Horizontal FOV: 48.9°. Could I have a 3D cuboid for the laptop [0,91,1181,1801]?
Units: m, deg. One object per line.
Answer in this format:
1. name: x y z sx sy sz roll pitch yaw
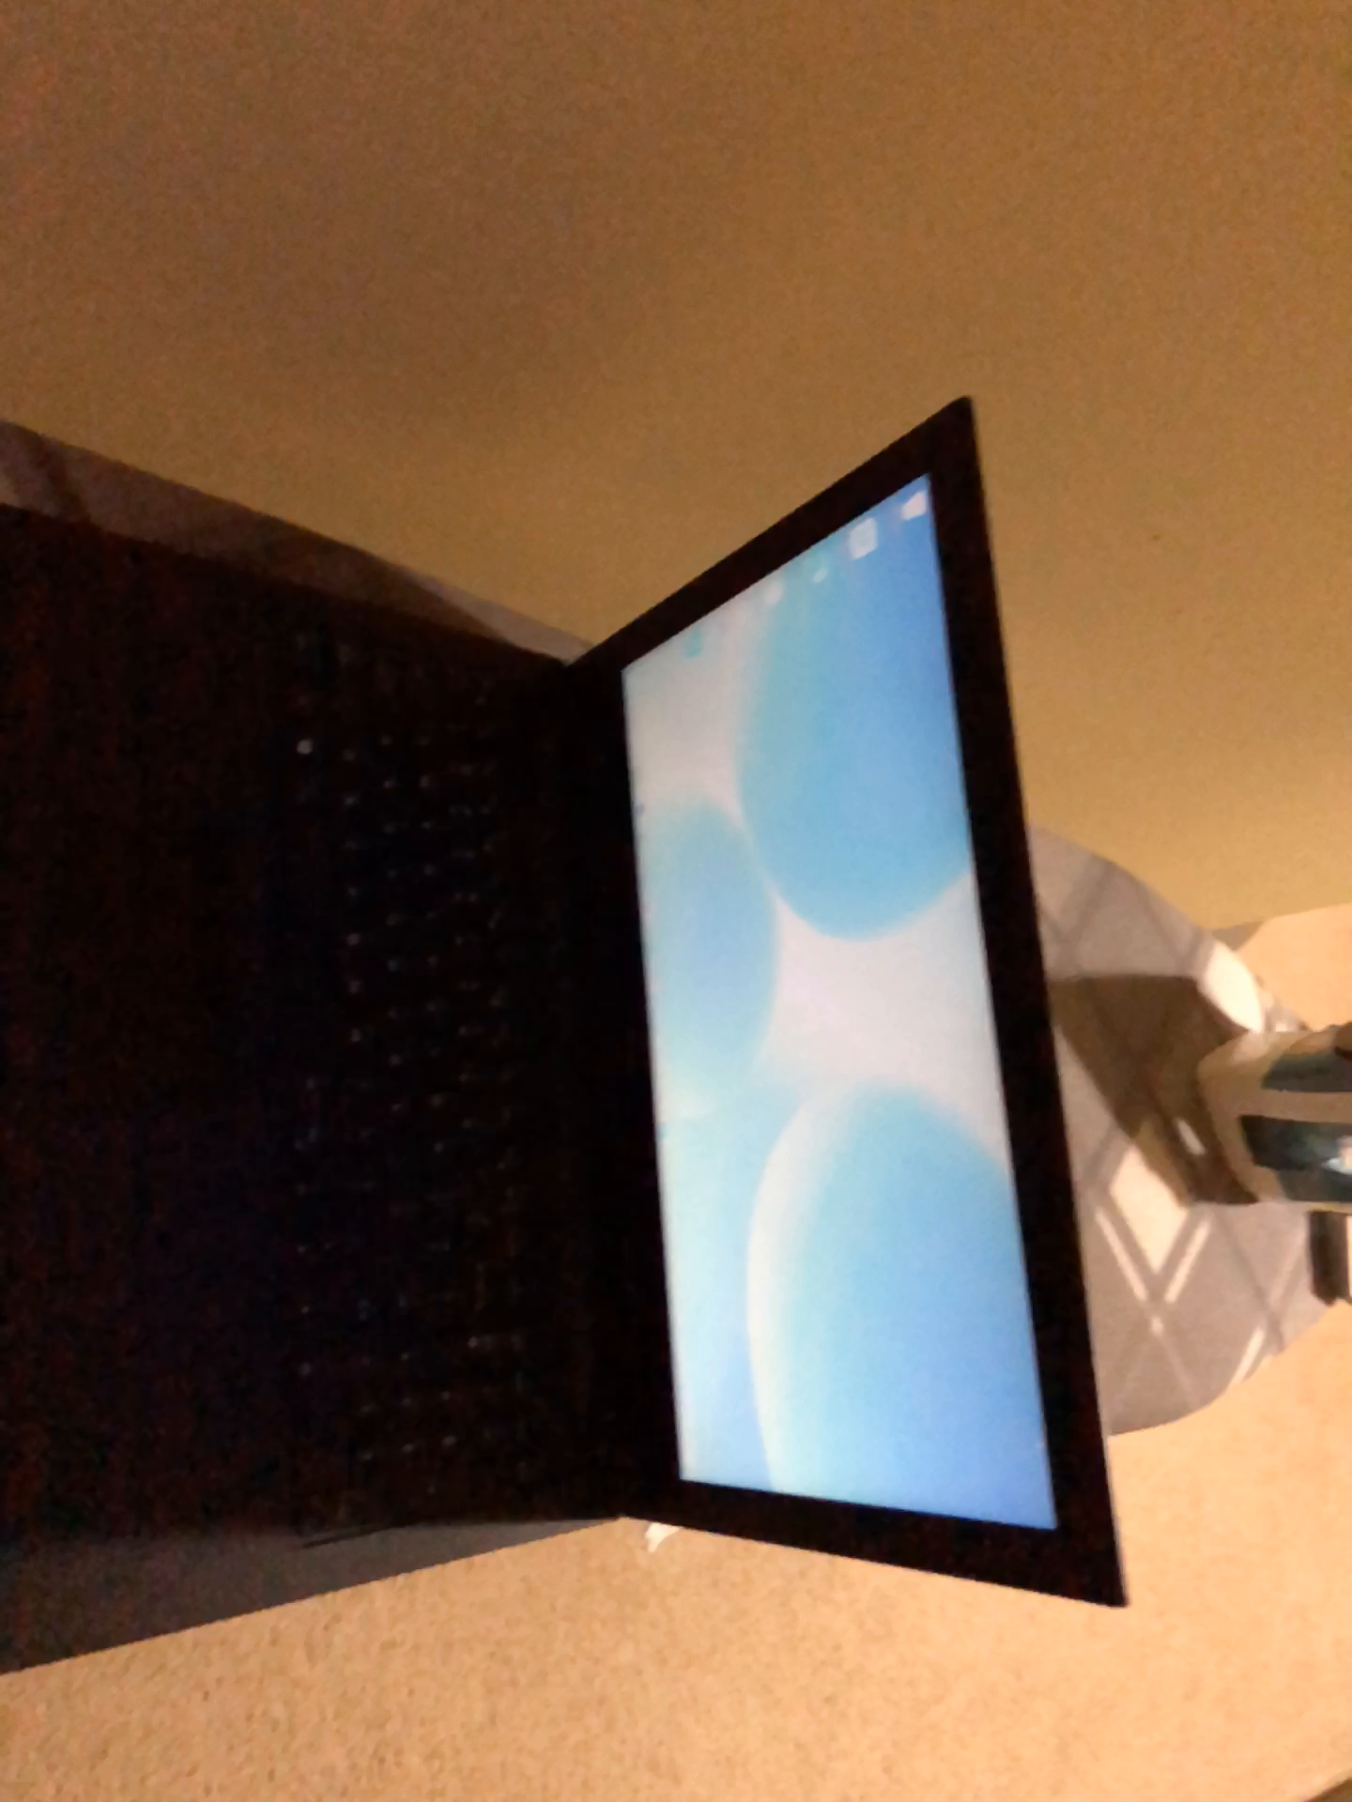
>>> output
1. laptop: -0.042 0.031 0.452 0.248 0.231 0.352 8 72 -43
